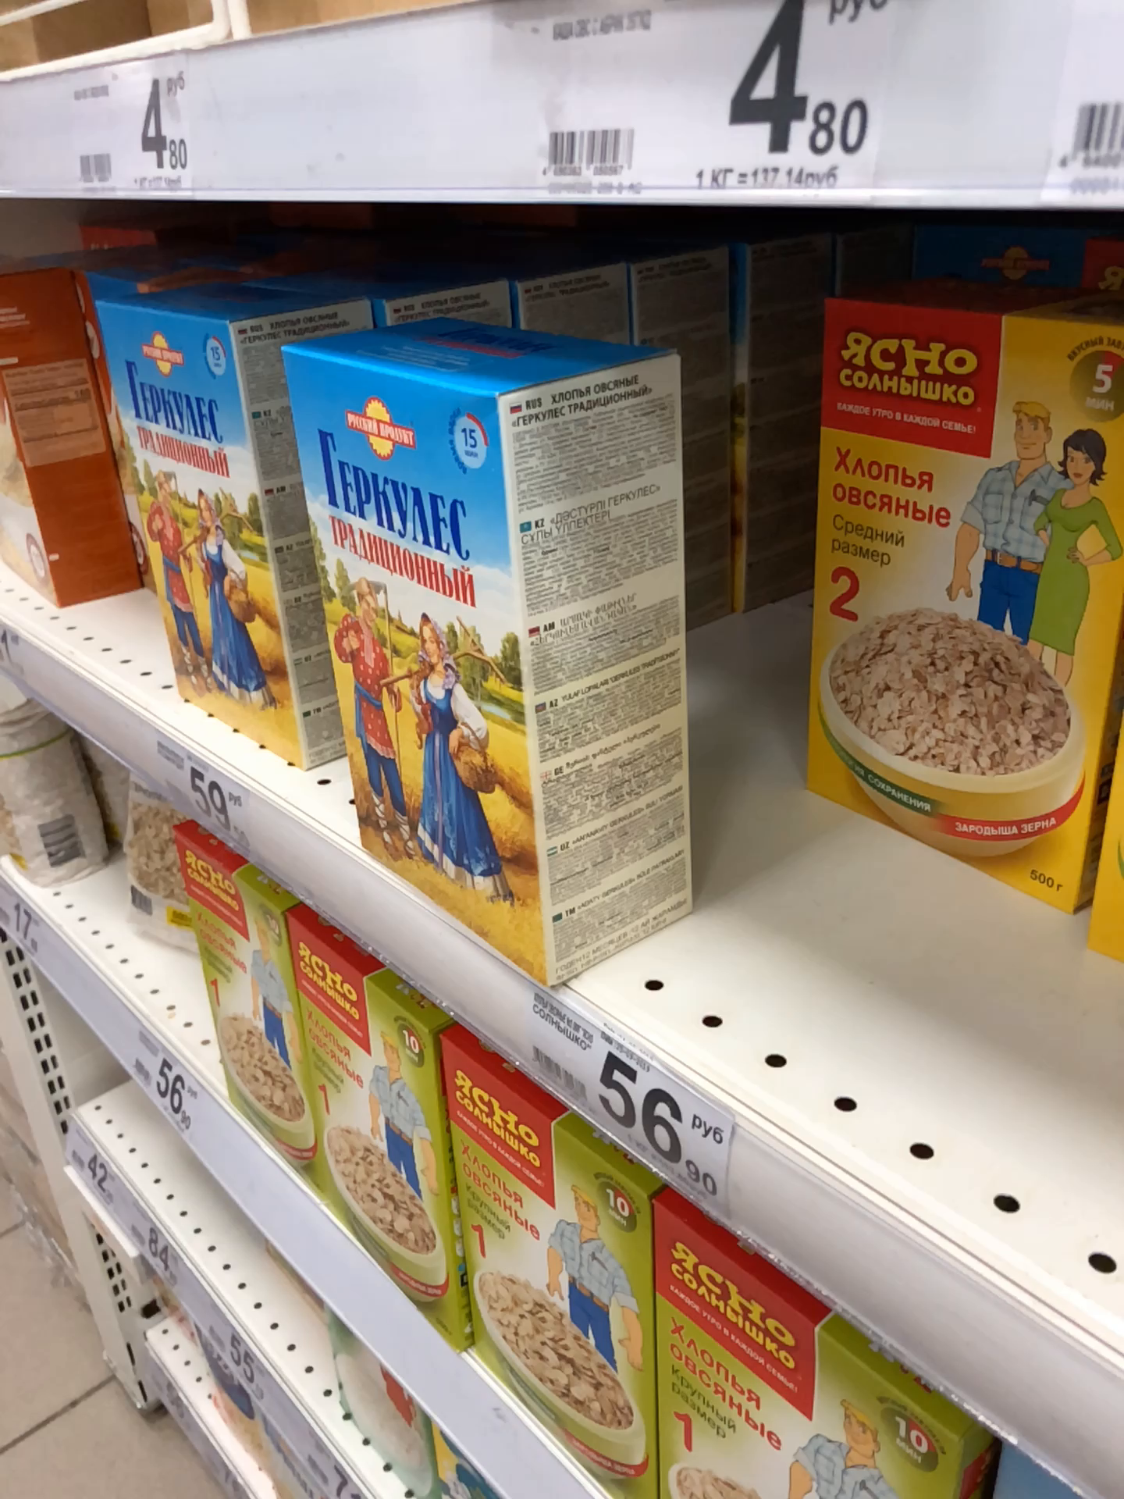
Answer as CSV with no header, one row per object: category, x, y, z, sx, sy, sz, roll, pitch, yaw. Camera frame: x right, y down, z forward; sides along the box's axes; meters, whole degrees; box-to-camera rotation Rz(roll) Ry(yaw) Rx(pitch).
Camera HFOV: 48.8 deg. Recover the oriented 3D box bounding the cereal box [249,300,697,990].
cereal box,-0.027,-0.041,0.413,0.070,0.189,0.130,-23,32,-32
